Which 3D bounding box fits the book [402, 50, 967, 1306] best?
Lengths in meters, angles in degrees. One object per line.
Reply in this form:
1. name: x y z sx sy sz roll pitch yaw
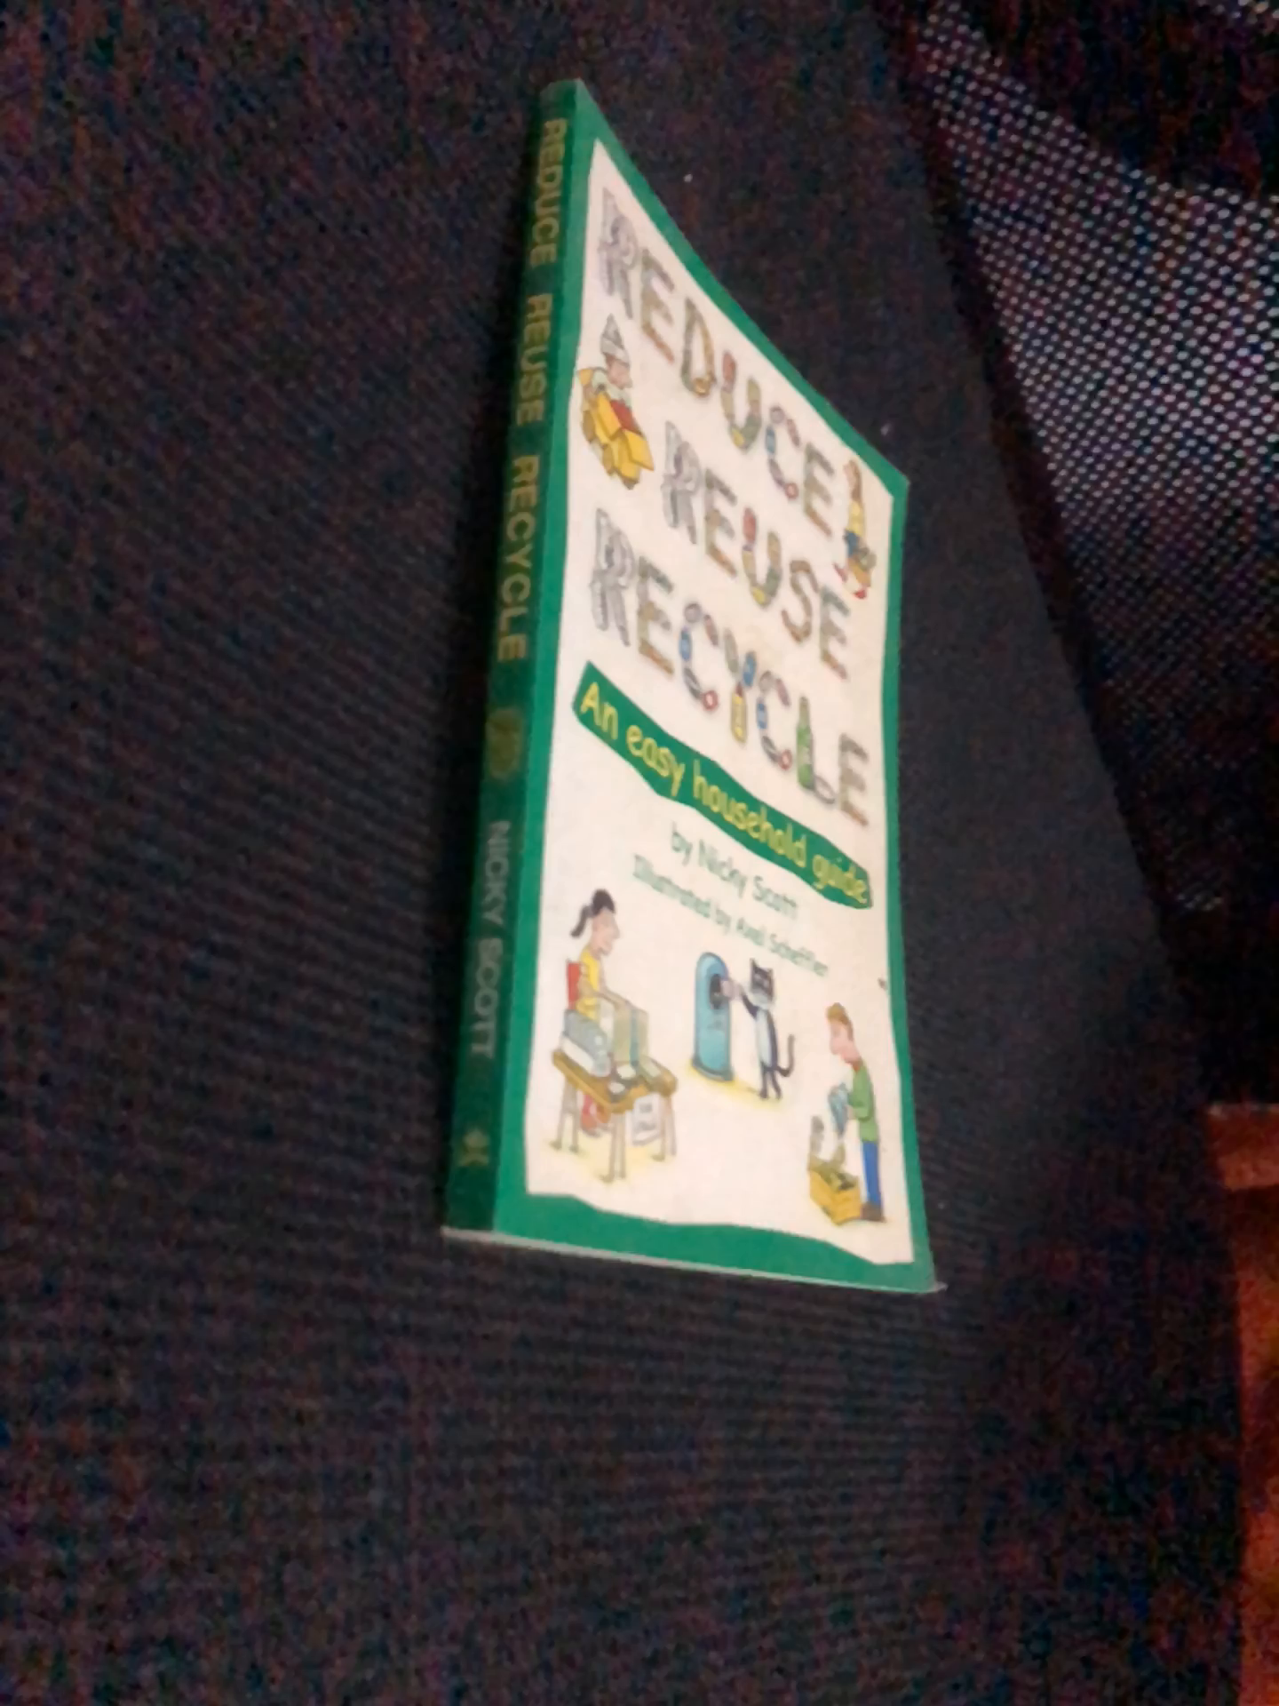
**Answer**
1. book: 0.019 -0.018 0.239 0.131 0.018 0.173 29 57 -51
